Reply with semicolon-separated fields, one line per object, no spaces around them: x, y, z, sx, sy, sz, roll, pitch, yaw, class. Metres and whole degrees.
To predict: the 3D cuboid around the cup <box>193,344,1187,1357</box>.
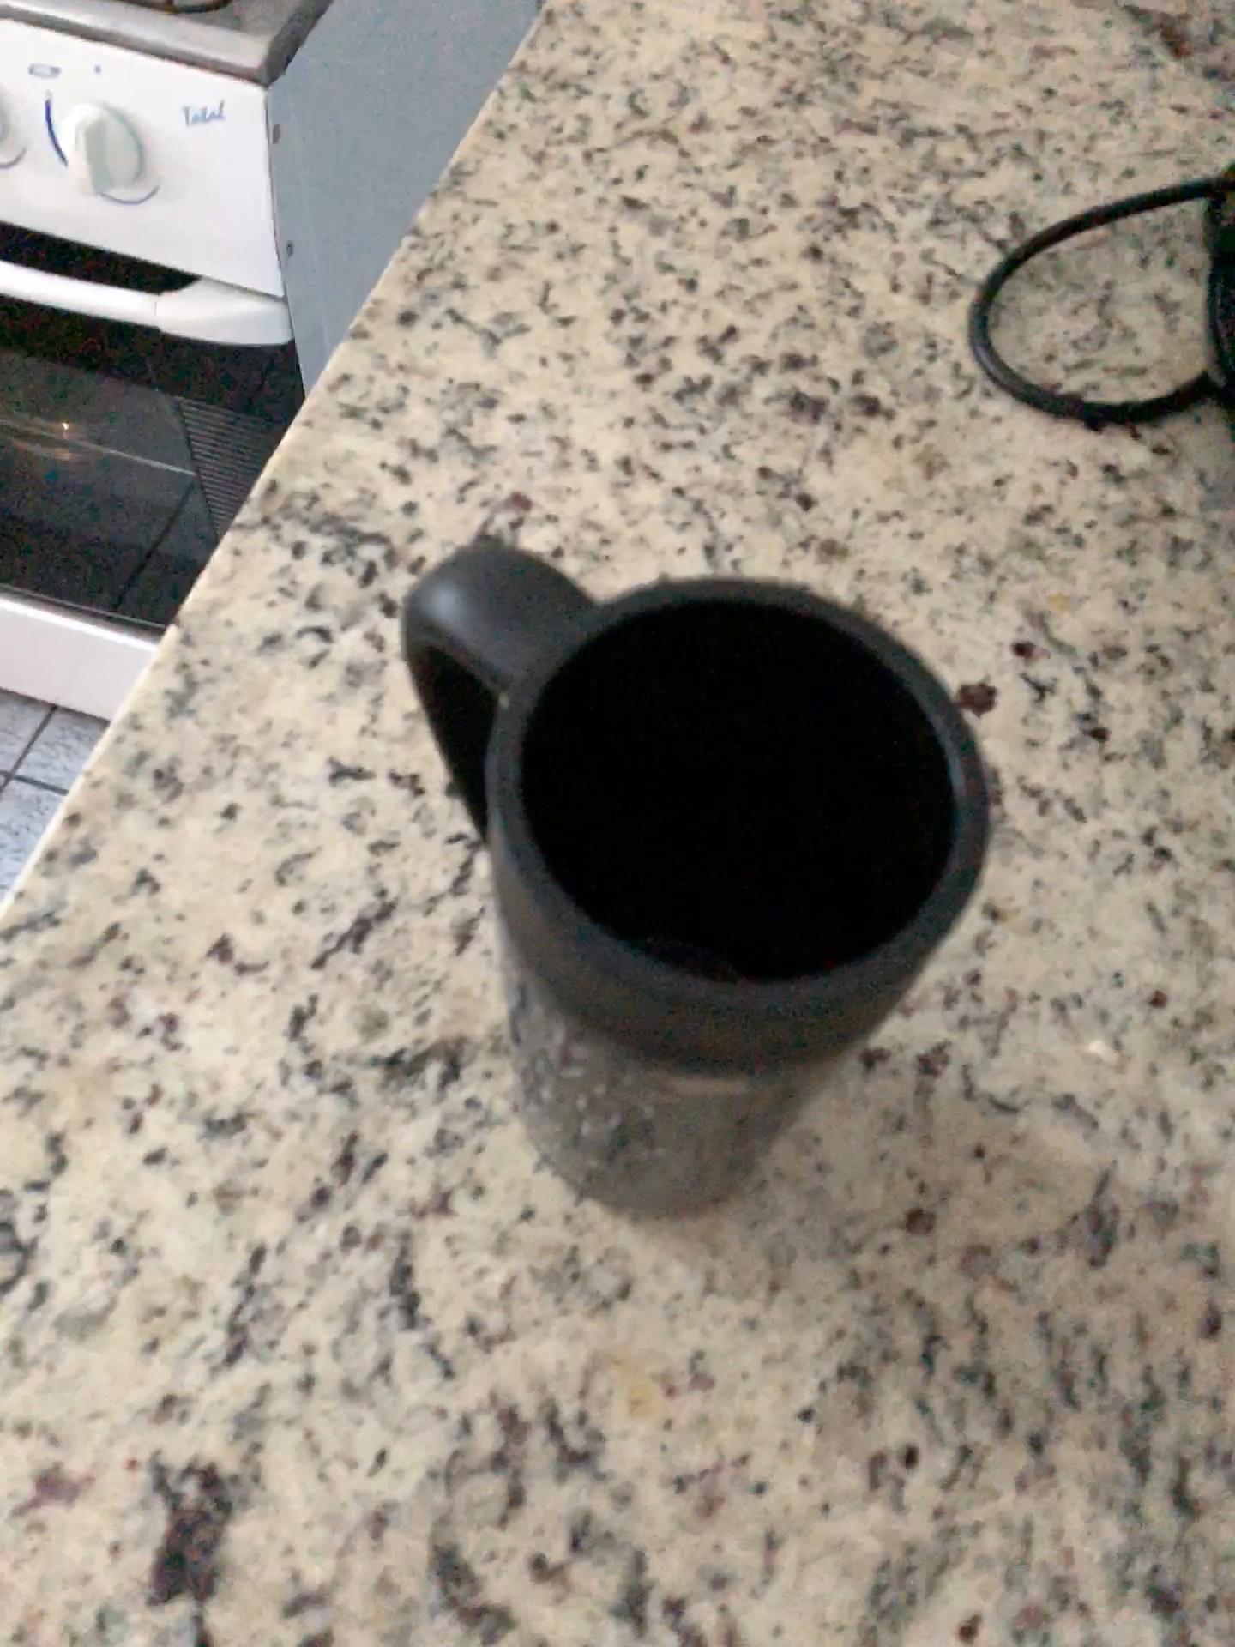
0.004;0.016;0.238;0.080;0.140;0.120;-37;70;-22;cup
